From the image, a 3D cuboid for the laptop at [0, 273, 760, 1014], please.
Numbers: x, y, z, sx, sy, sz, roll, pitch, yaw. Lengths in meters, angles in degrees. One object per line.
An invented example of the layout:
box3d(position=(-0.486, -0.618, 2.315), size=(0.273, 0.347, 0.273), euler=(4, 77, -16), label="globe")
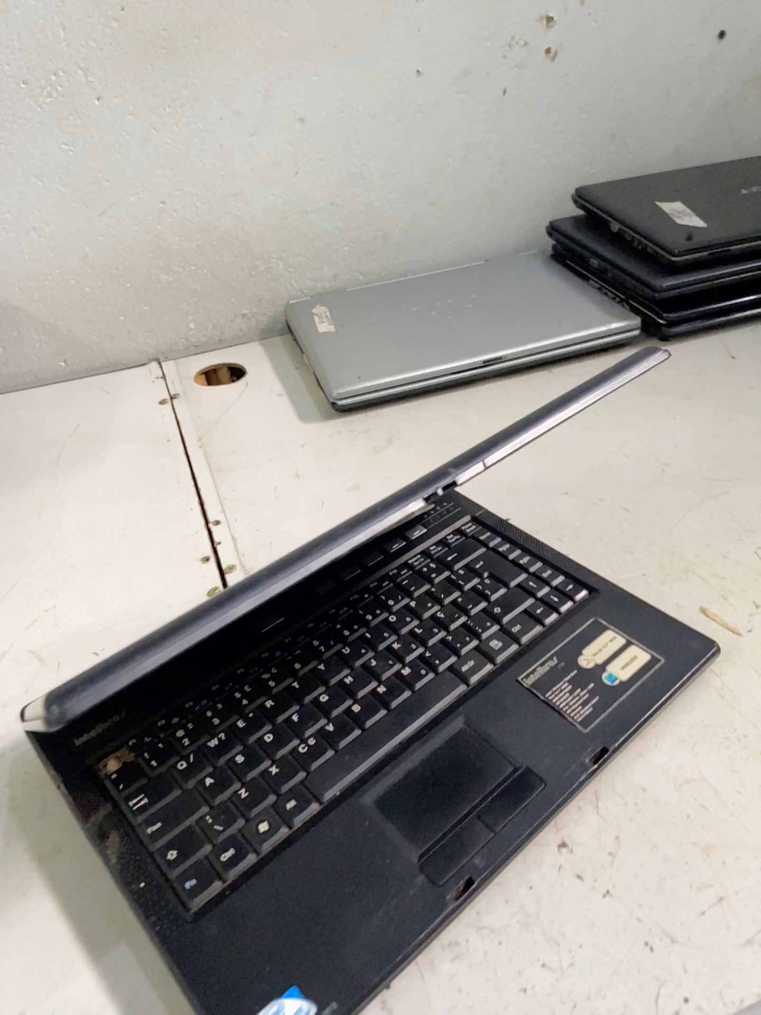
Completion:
box3d(position=(-0.008, 0.034, 0.402), size=(0.325, 0.168, 0.236), euler=(-30, 43, -31), label="laptop")
